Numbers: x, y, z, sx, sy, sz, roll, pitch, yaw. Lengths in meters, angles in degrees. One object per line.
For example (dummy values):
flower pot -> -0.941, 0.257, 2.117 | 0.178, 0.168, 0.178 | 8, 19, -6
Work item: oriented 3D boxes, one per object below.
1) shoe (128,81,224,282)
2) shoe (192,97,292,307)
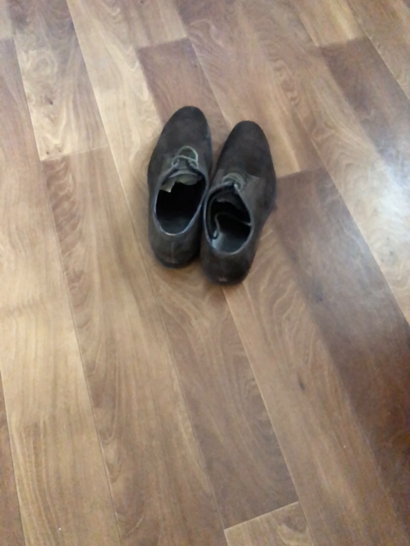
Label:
shoe -> -0.037, -0.151, 0.724 | 0.120, 0.100, 0.311 | 3, 65, 1
shoe -> 0.061, -0.115, 0.705 | 0.120, 0.100, 0.311 | 6, 65, 2
